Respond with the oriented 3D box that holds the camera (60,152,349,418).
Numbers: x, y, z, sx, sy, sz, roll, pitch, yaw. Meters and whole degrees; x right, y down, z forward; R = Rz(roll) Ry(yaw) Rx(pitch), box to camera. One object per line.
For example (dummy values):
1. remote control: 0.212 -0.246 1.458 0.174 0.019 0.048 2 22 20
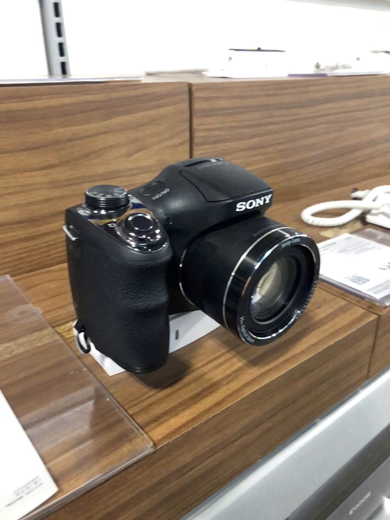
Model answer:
1. camera: 0.007 -0.002 0.241 0.120 0.092 0.090 -19 28 -37
